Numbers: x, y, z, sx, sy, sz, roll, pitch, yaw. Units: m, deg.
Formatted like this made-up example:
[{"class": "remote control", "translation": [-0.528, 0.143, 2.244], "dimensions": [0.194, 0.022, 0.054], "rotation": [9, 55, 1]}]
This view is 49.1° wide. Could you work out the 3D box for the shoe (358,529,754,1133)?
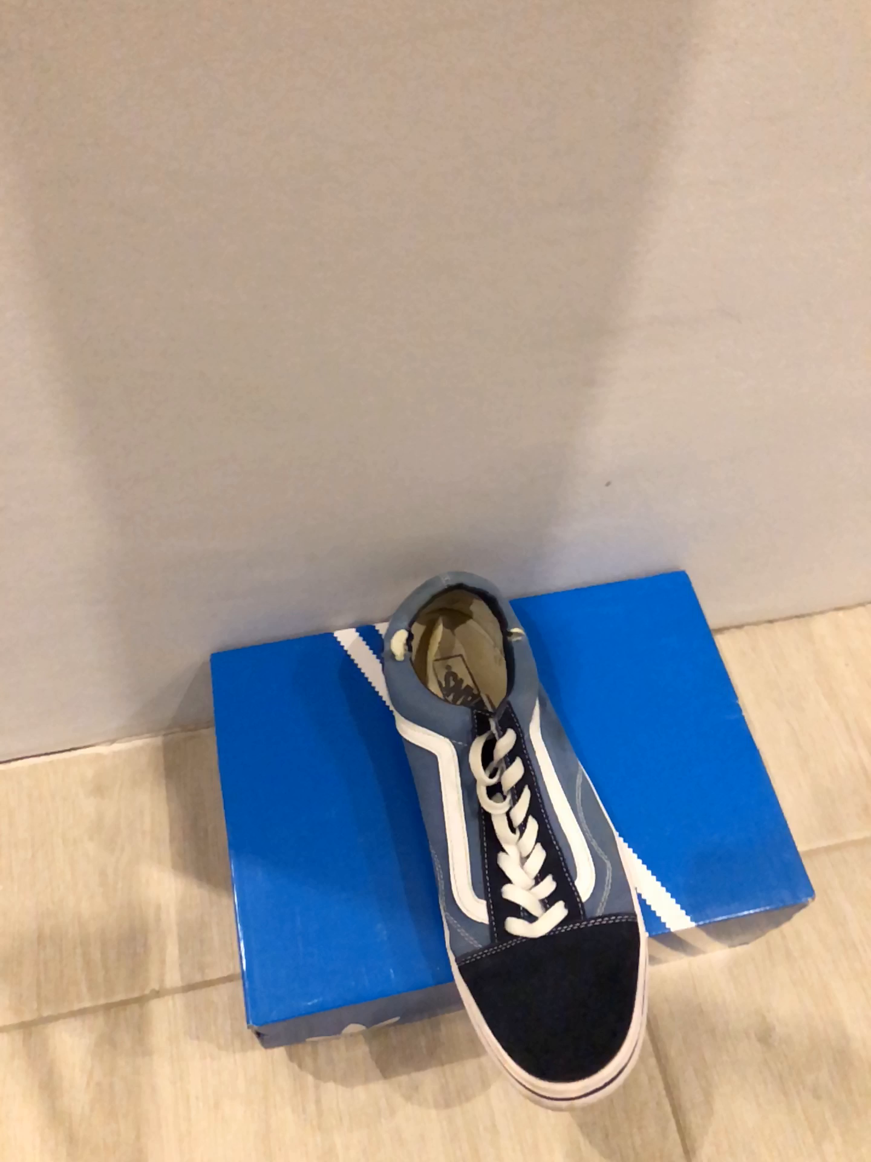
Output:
[{"class": "shoe", "translation": [0.046, 0.118, 0.506], "dimensions": [0.110, 0.080, 0.281], "rotation": [-12, 59, -9]}]
